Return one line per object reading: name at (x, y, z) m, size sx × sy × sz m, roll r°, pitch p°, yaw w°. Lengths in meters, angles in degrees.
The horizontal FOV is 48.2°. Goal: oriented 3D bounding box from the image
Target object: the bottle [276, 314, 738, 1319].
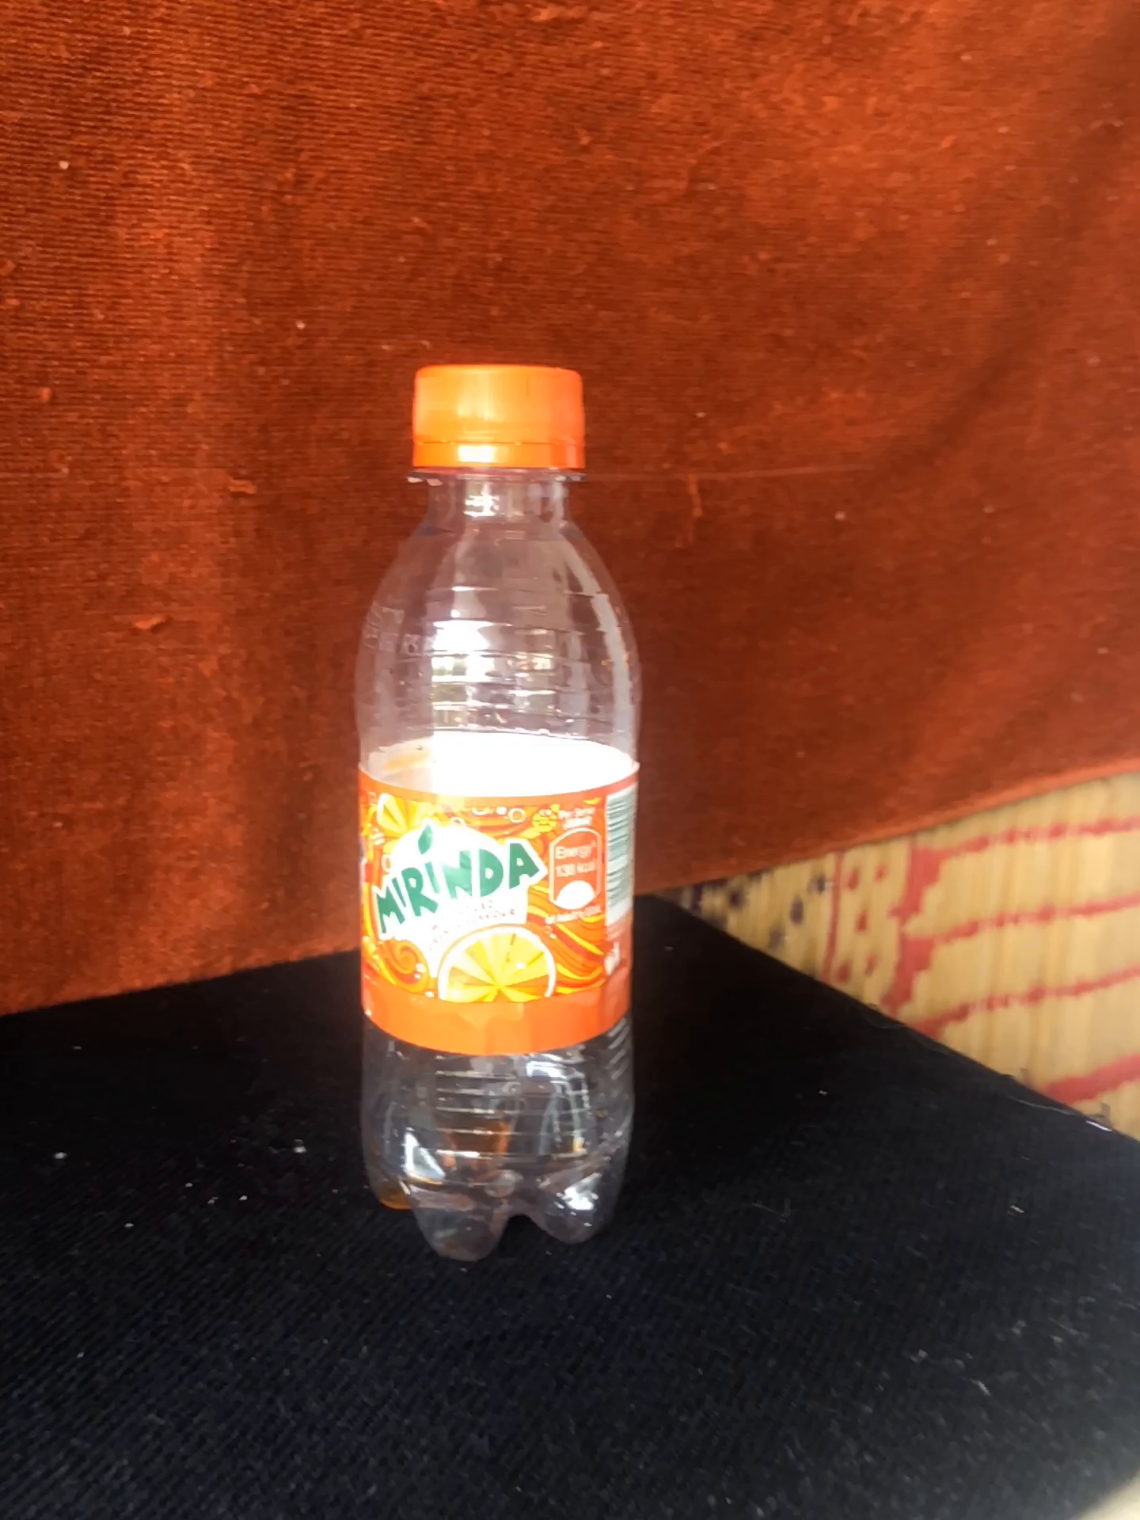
bottle at (-0.012, 0.007, 0.229) m, size 0.060 × 0.159 × 0.050 m, roll 9°, pitch 15°, yaw 20°
